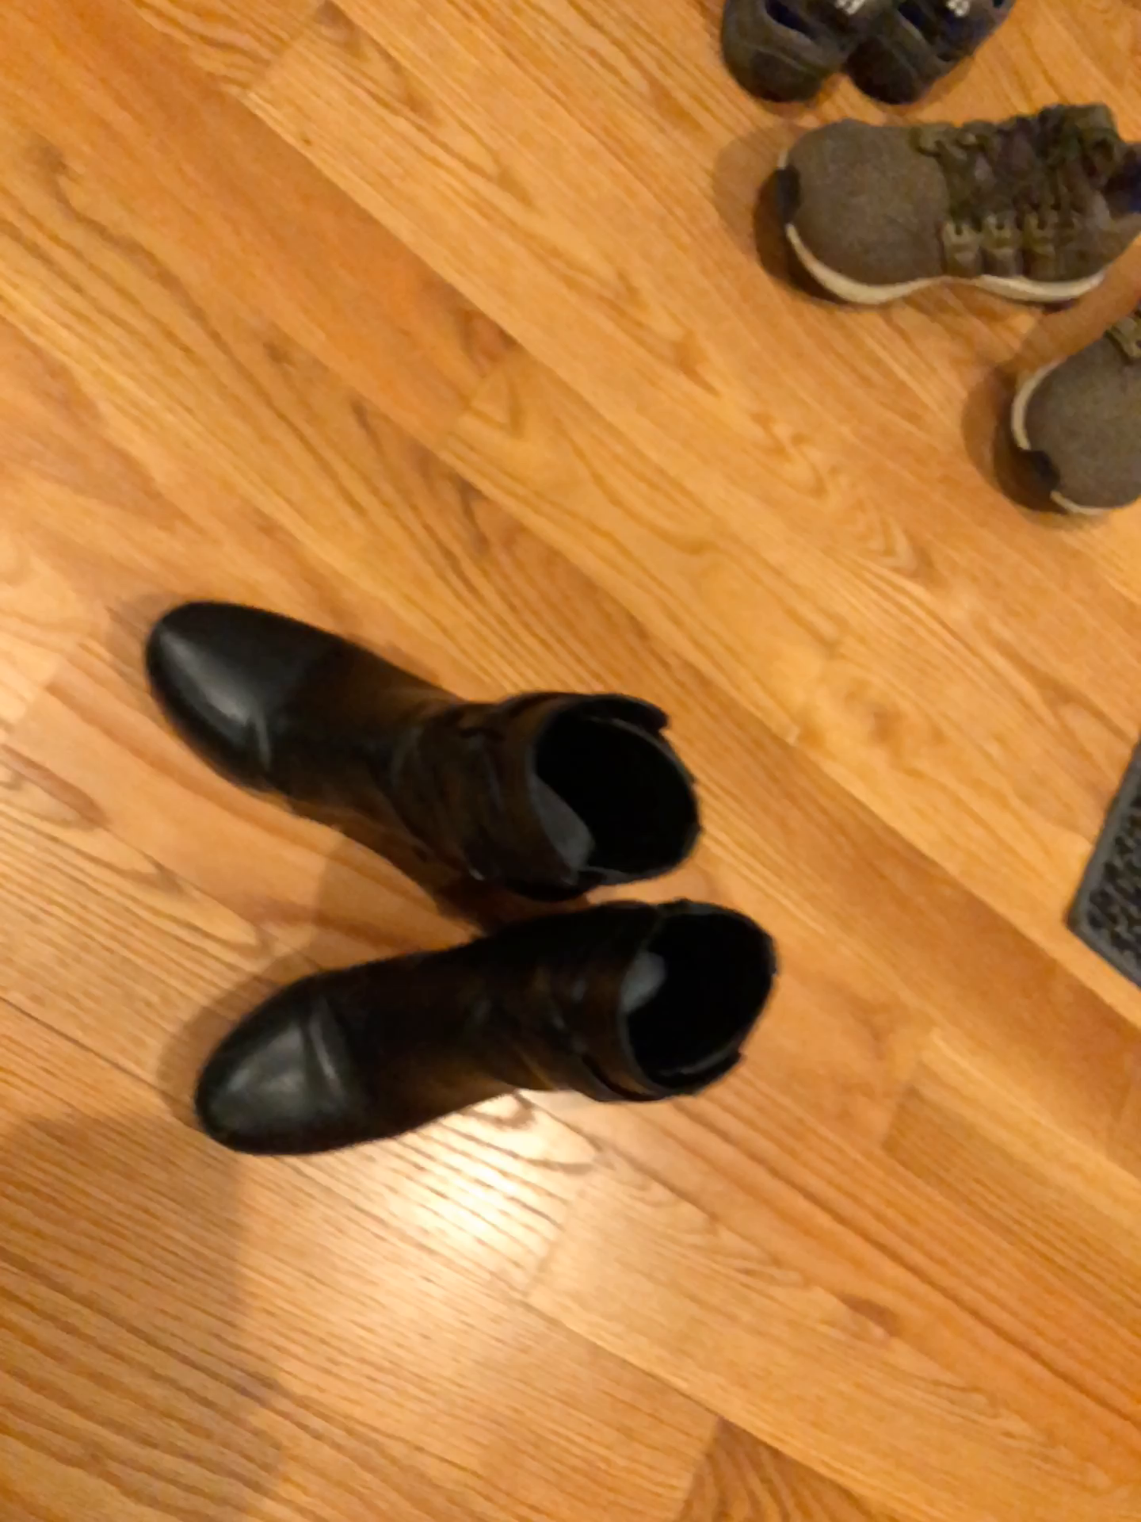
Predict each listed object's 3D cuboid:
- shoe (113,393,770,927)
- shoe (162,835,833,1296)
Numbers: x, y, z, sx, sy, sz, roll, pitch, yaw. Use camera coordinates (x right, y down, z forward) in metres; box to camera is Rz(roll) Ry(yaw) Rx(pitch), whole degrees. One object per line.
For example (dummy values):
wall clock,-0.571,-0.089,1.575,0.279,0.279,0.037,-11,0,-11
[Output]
shoe,-0.064,-0.024,0.550,0.226,0.173,0.090,34,70,-17
shoe,-0.039,0.114,0.547,0.227,0.173,0.090,-17,91,-26
